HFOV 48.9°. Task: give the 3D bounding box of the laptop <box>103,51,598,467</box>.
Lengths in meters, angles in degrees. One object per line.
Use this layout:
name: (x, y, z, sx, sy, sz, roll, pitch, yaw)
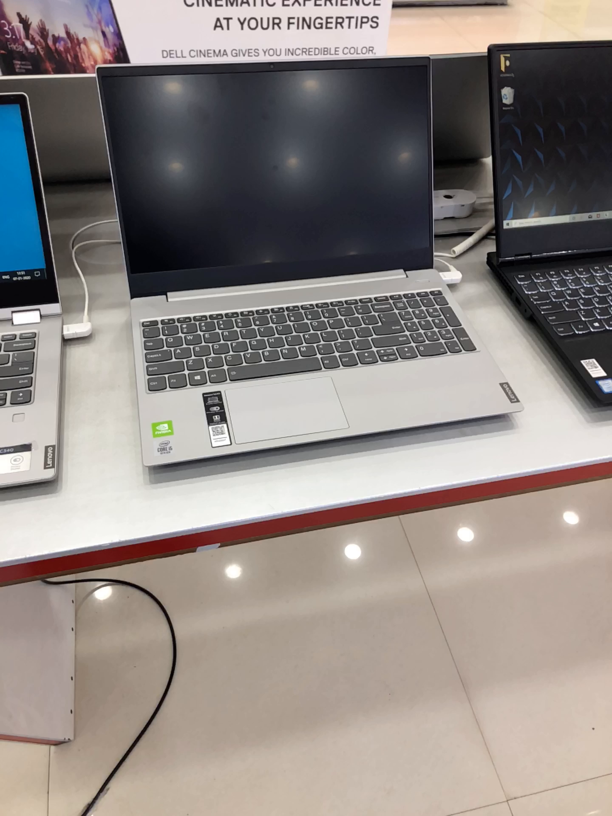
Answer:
laptop: (0.002, -0.167, 0.640, 0.342, 0.196, 0.346, -8, 46, -11)
